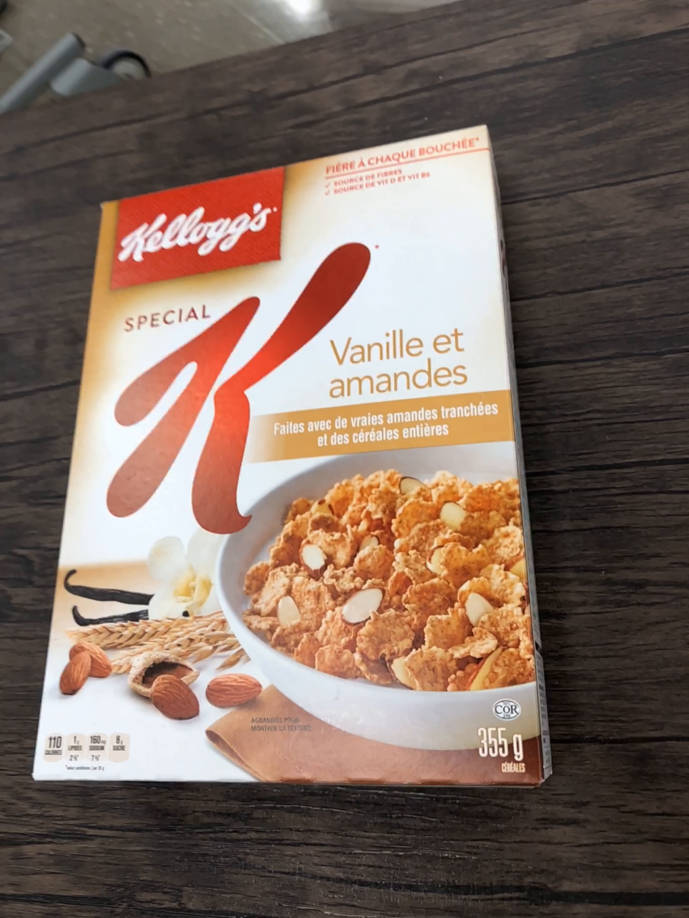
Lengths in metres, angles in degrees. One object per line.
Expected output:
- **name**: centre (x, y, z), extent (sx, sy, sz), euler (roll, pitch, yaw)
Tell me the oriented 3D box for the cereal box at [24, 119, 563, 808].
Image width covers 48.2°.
- **cereal box**: centre (-0.020, 0.001, 0.340), extent (0.200, 0.060, 0.270), euler (-5, 71, 15)
